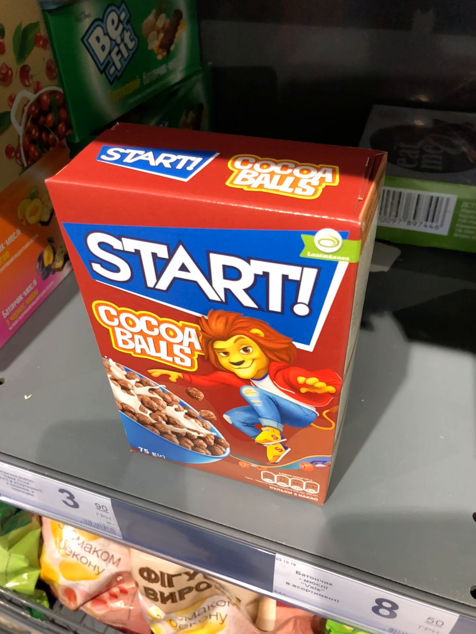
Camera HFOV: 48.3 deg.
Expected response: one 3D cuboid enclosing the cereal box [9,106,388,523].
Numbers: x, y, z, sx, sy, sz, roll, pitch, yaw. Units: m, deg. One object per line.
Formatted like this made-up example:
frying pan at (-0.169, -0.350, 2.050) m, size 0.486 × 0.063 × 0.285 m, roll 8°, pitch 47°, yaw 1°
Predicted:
cereal box at (-0.007, 0.009, 0.232) m, size 0.110 × 0.169 × 0.060 m, roll 11°, pitch 46°, yaw 14°
